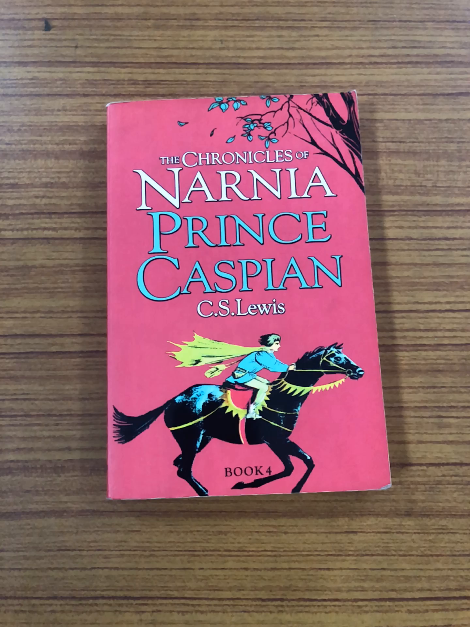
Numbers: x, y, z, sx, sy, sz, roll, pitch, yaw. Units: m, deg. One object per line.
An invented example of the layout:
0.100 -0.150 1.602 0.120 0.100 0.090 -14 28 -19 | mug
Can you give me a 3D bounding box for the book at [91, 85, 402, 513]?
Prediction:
0.002 -0.010 0.250 0.130 0.030 0.190 -2 81 0 | book
